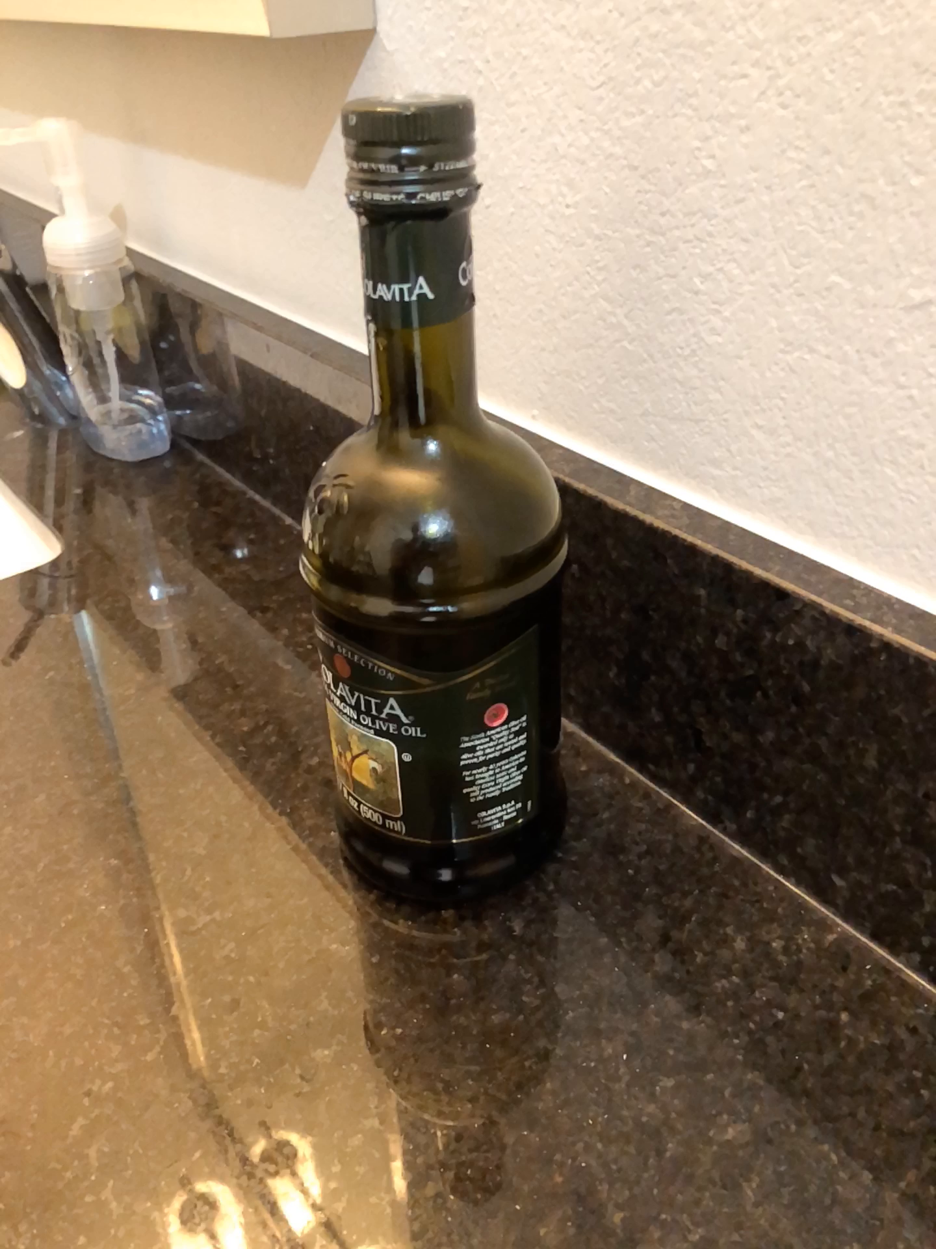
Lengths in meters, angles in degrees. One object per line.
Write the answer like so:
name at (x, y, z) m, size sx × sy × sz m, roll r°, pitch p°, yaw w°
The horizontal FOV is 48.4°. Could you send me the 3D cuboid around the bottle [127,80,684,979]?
bottle at (-0.011, -0.024, 0.296) m, size 0.090 × 0.219 × 0.090 m, roll -2°, pitch 33°, yaw 1°
